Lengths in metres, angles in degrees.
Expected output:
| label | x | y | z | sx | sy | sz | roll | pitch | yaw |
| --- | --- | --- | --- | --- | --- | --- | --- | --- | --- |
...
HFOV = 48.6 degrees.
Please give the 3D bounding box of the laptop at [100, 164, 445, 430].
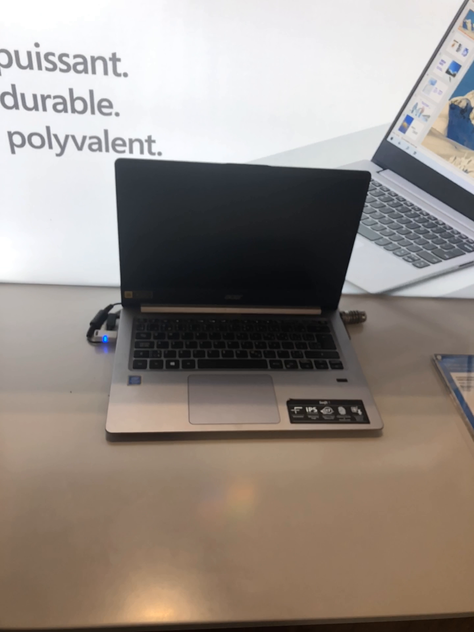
| label | x | y | z | sx | sy | sz | roll | pitch | yaw |
| --- | --- | --- | --- | --- | --- | --- | --- | --- | --- |
| laptop | 0.017 | -0.026 | 0.616 | 0.311 | 0.210 | 0.227 | 1 | 37 | -7 |
